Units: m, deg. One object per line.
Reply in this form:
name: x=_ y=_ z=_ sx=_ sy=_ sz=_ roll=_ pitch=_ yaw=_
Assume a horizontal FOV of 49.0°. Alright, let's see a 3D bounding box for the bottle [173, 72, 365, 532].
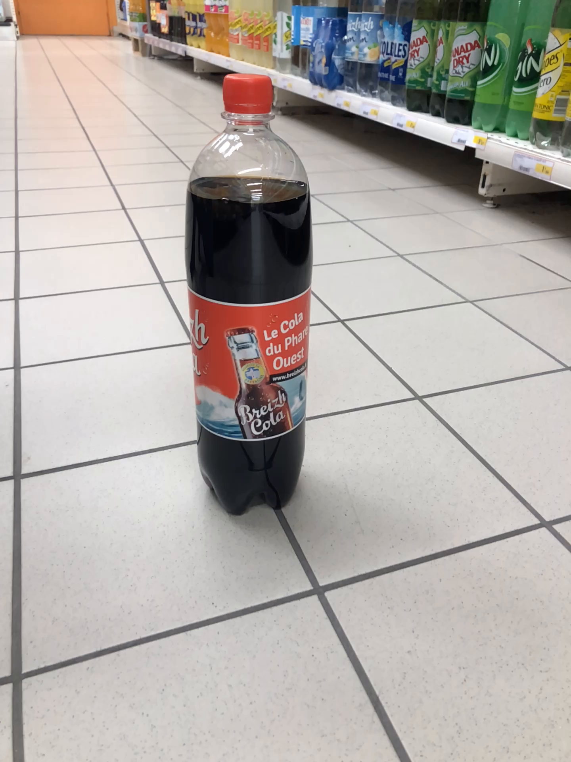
bottle: x=-0.008 y=-0.048 z=0.455 sx=0.100 sy=0.308 sz=0.101 roll=1 pitch=30 yaw=-1
